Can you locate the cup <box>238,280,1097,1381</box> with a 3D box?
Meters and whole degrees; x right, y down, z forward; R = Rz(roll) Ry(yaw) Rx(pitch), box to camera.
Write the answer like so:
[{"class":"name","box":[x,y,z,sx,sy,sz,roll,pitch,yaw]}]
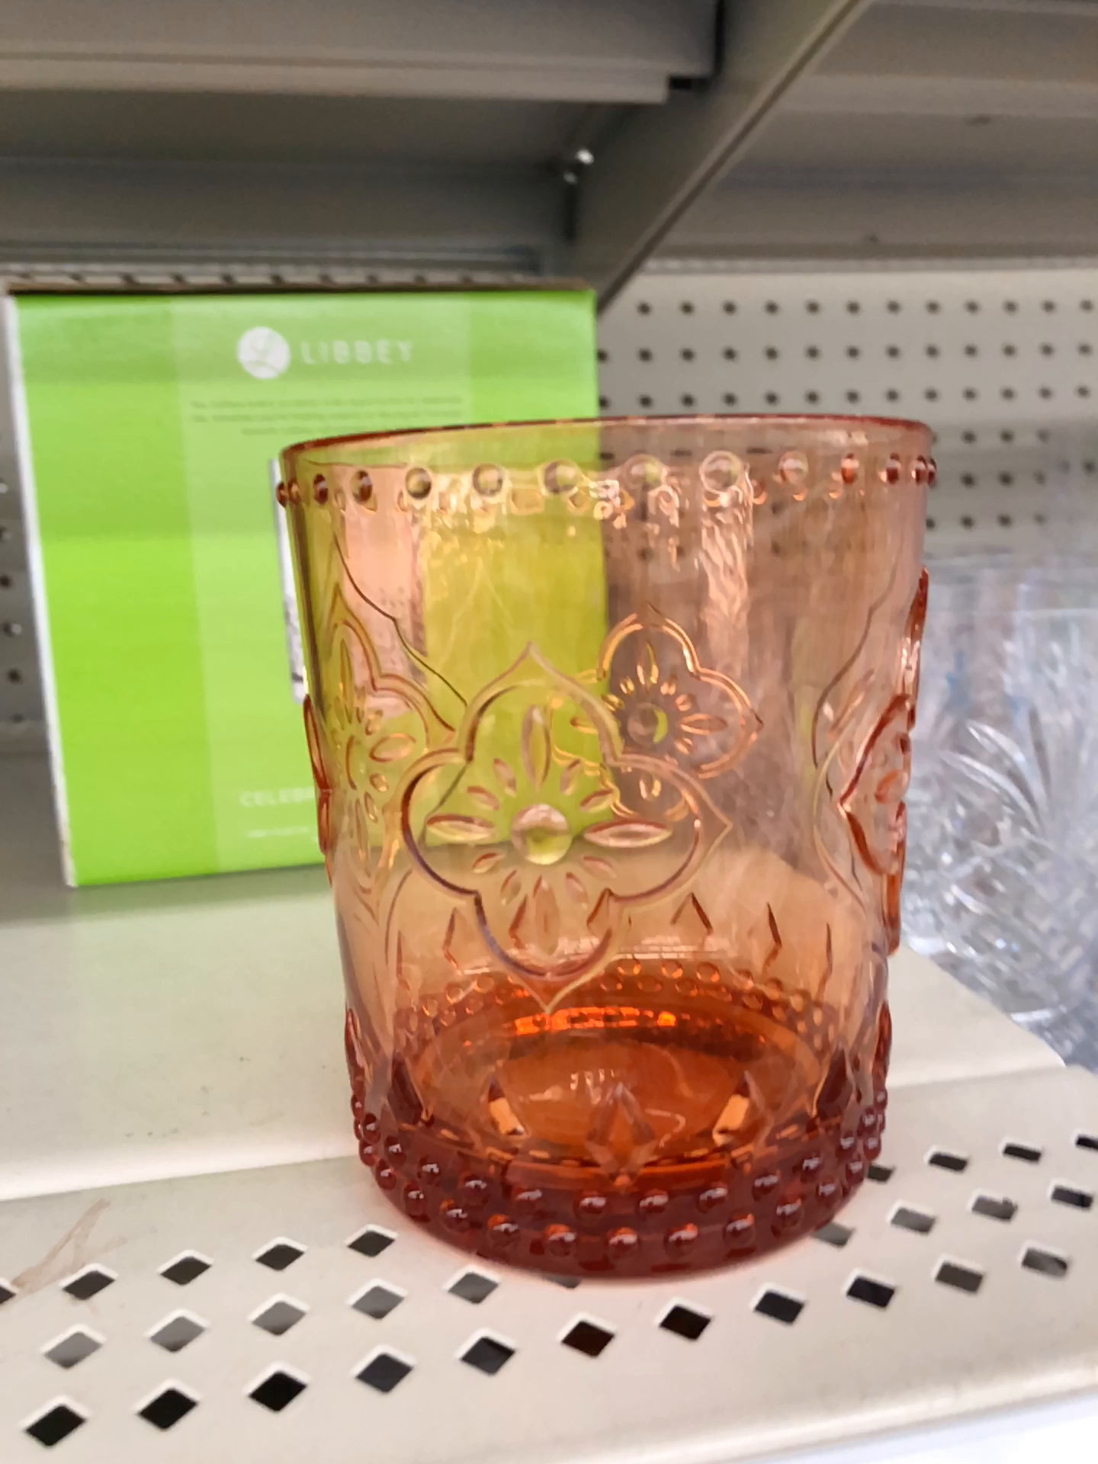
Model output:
[{"class":"cup","box":[0.016,0.003,0.178,0.090,0.110,0.080,-8,11,-33]}]
